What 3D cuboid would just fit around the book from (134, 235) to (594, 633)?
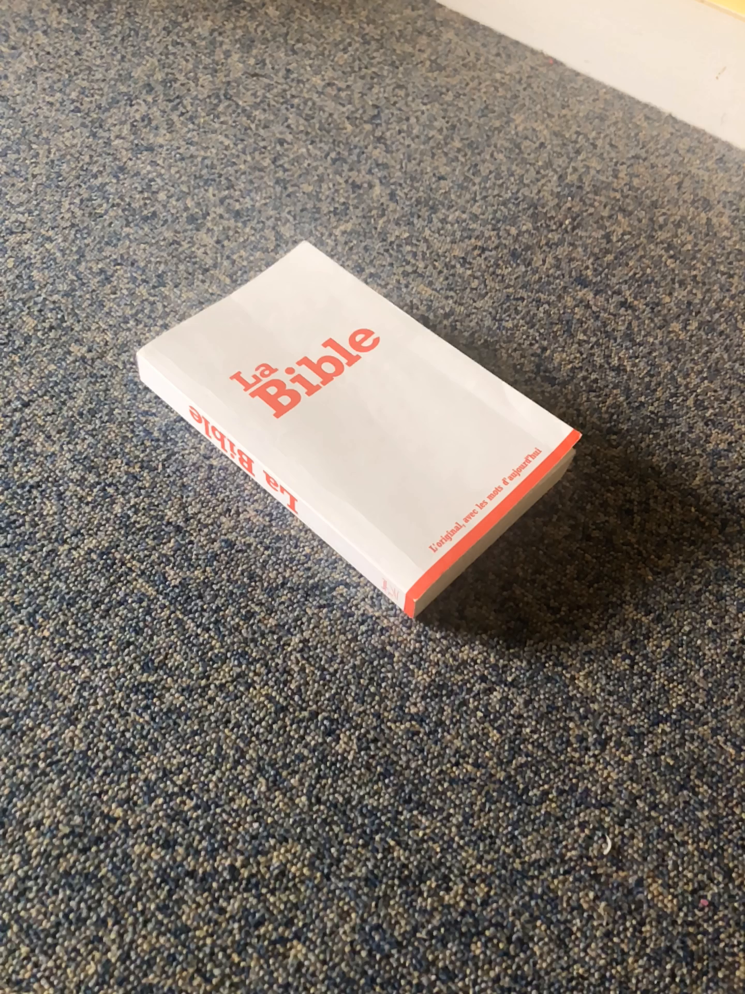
[{"bbox_3d":[-0.007,-0.046,0.452,0.211,0.042,0.134,40,61,19],"label":"book"}]
